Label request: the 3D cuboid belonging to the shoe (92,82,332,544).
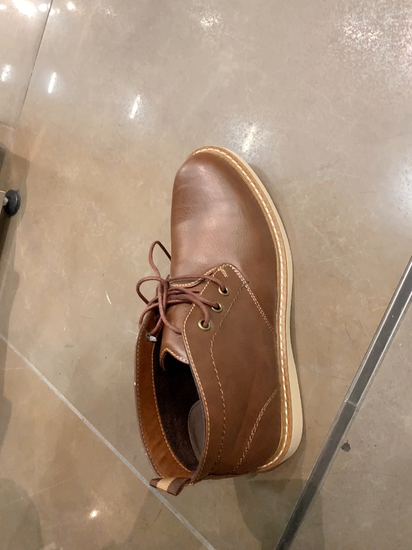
[{"bbox_3d":[0.002,0.025,0.346,0.107,0.120,0.295,-15,78,34],"label":"shoe"}]
